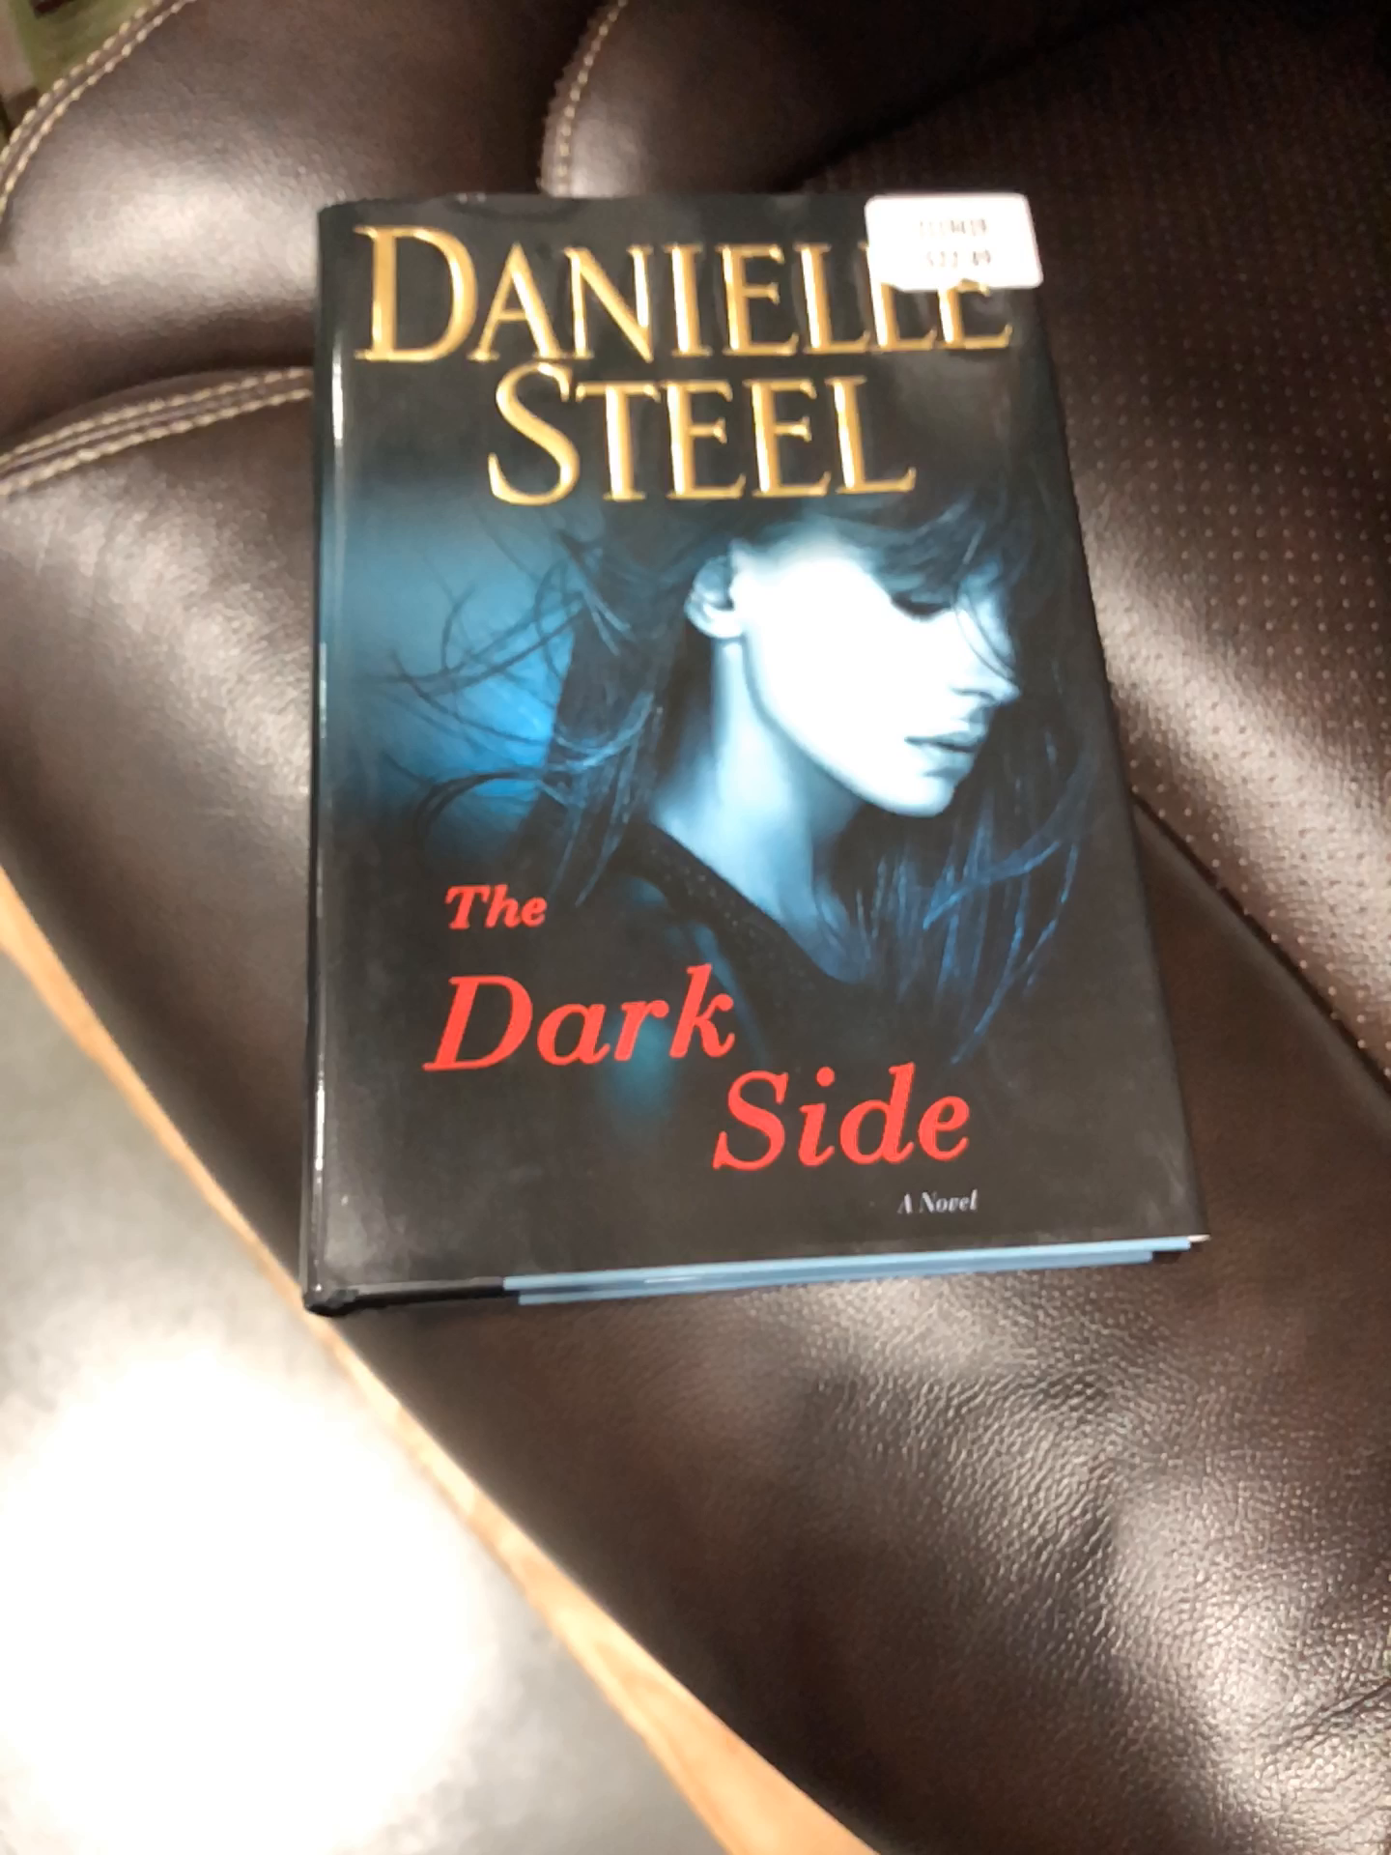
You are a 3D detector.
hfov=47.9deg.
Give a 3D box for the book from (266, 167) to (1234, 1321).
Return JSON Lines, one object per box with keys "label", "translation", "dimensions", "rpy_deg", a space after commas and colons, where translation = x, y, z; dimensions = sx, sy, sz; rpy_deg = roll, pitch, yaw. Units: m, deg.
{"label": "book", "translation": [0.002, -0.047, 0.325], "dimensions": [0.168, 0.040, 0.237], "rpy_deg": [-3, 72, -4]}
